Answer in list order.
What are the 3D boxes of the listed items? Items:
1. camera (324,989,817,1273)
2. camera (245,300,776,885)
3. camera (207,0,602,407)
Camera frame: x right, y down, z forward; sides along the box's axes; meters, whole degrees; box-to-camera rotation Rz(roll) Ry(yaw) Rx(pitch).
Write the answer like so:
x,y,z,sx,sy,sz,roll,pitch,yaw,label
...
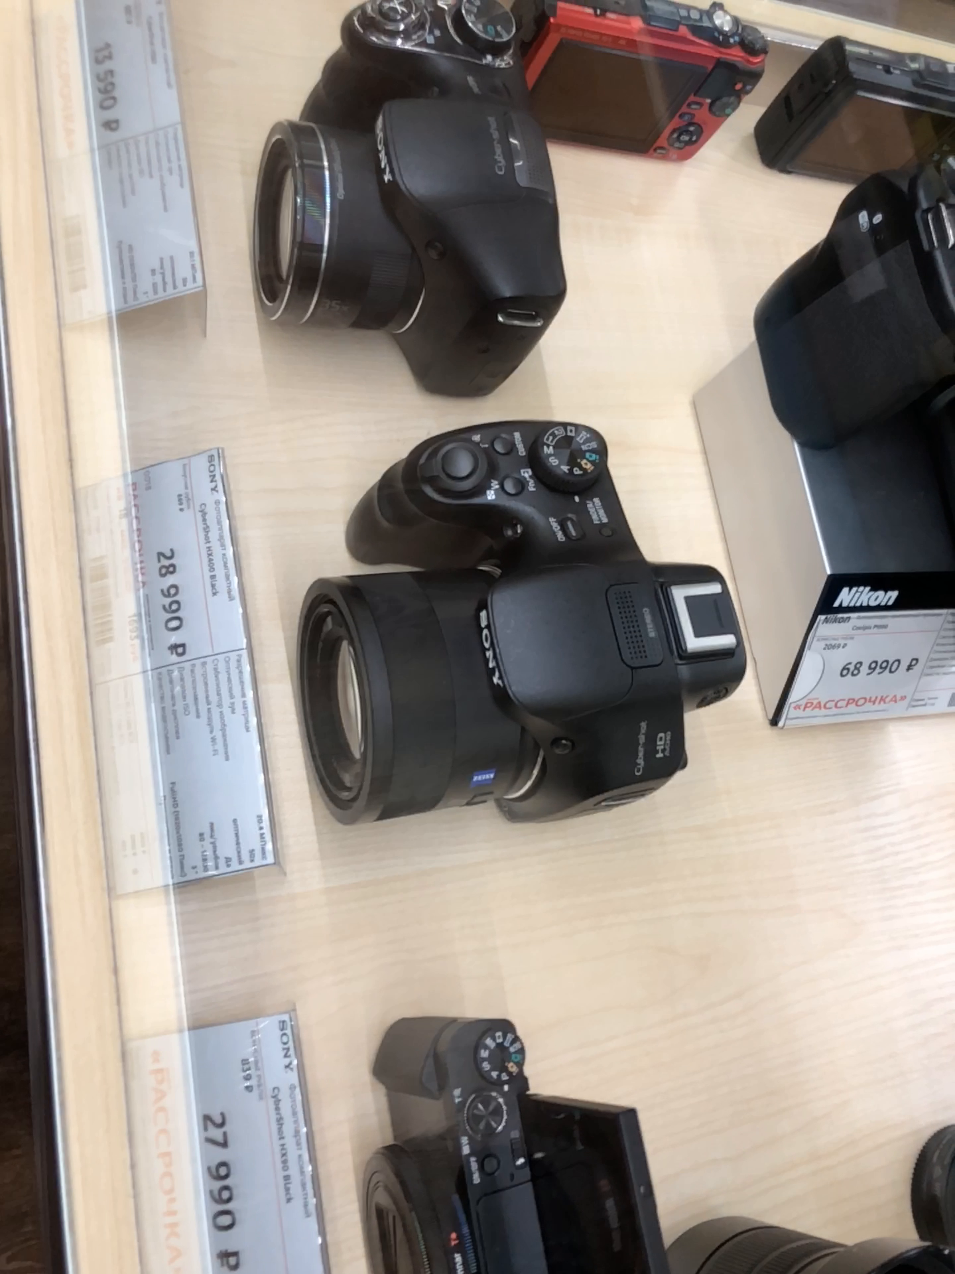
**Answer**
x,y,z,sx,sy,sz,roll,pitch,yaw,label
0.011,0.162,0.270,0.056,0.113,0.125,-4,74,-25,camera
0.001,-0.010,0.307,0.104,0.086,0.137,-4,74,-25,camera
-0.030,-0.152,0.357,0.096,0.073,0.122,-4,74,-25,camera
